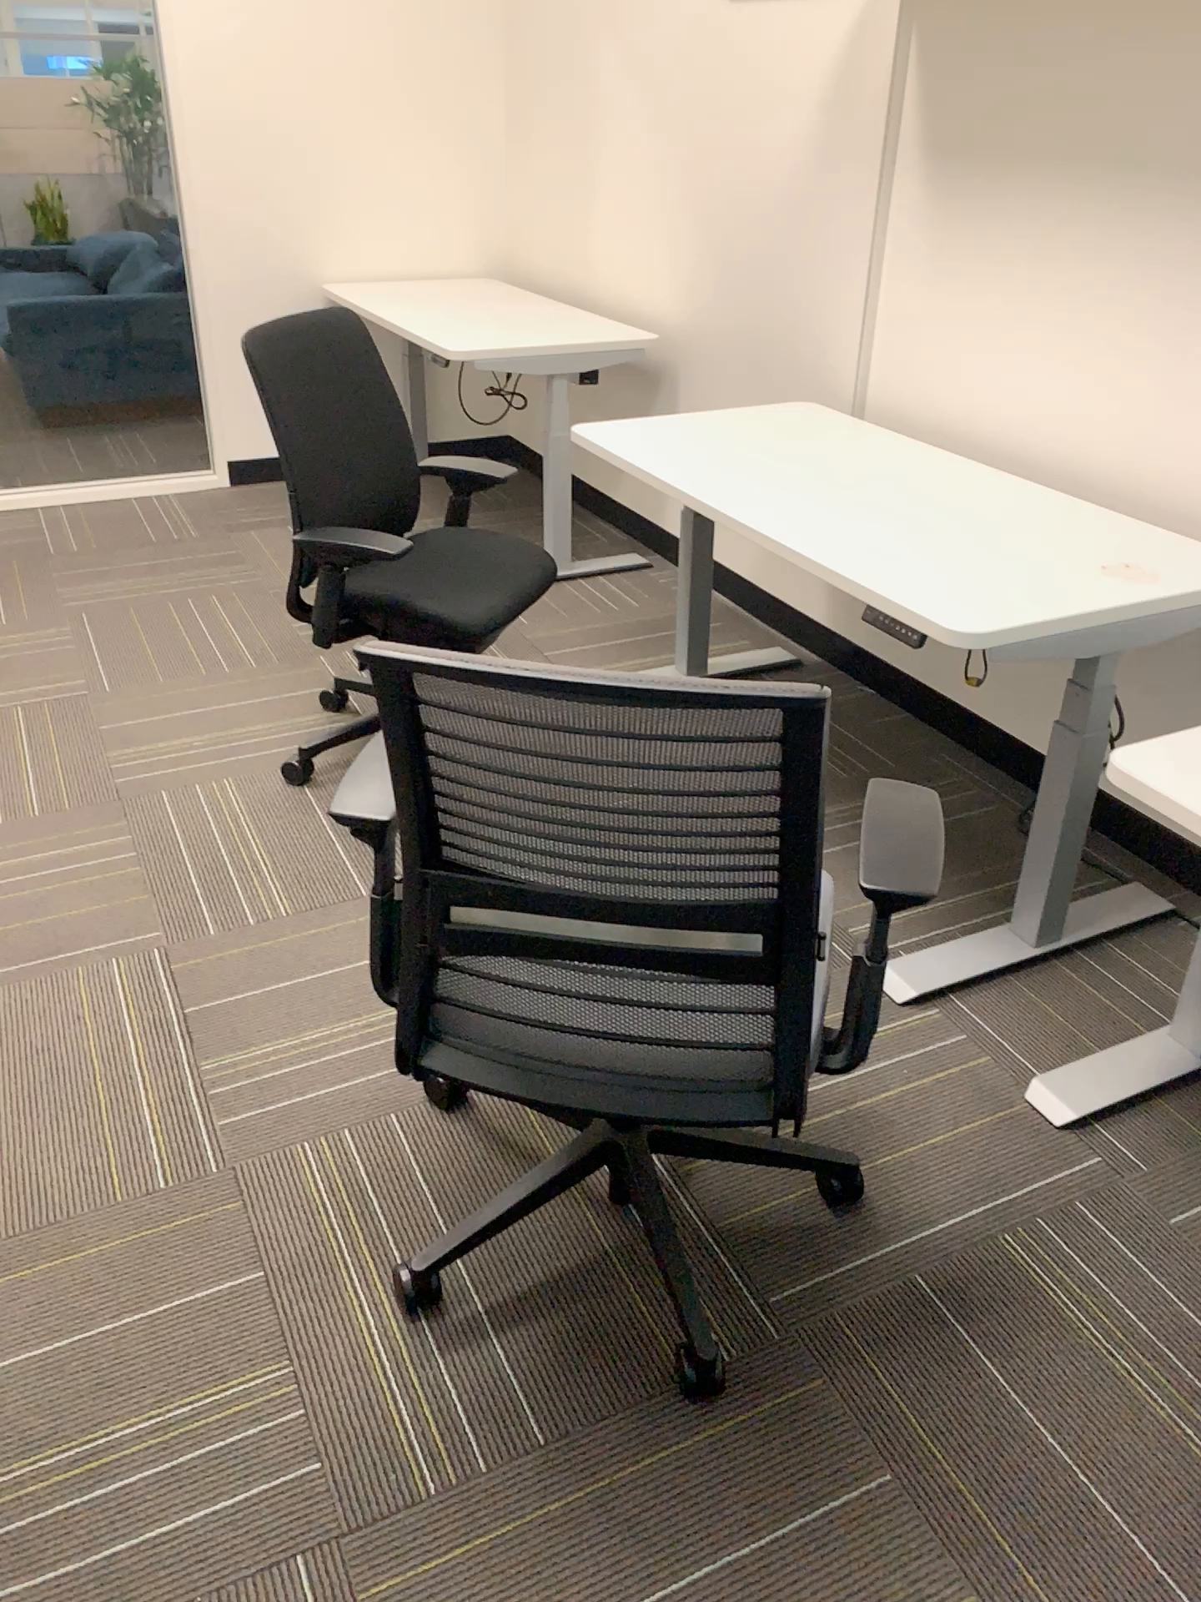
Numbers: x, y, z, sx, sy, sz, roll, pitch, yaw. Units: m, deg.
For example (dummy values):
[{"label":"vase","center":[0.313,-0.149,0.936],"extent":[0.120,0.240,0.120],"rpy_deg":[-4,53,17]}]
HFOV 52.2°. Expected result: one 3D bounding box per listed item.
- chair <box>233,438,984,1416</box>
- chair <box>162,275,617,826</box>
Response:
[{"label":"chair","center":[0.021,0.137,1.561],"extent":[0.640,0.994,0.644],"rpy_deg":[5,30,5]},{"label":"chair","center":[-0.417,-0.609,2.822],"extent":[0.701,0.994,0.734],"rpy_deg":[10,31,14]}]
